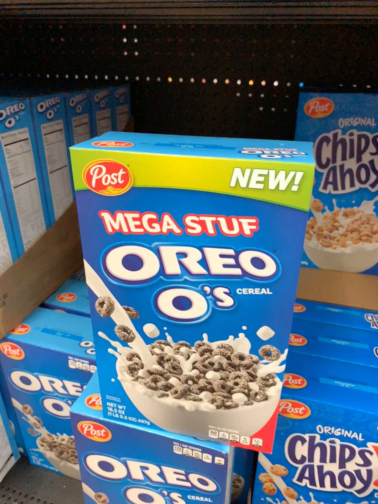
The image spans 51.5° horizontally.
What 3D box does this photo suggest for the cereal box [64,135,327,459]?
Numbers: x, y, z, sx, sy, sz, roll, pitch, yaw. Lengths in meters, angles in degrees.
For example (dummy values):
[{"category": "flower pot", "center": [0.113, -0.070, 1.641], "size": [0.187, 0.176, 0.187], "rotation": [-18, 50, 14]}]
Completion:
[{"category": "cereal box", "center": [0.004, 0.049, 0.390], "size": [0.200, 0.299, 0.080], "rotation": [6, 26, 11]}]
